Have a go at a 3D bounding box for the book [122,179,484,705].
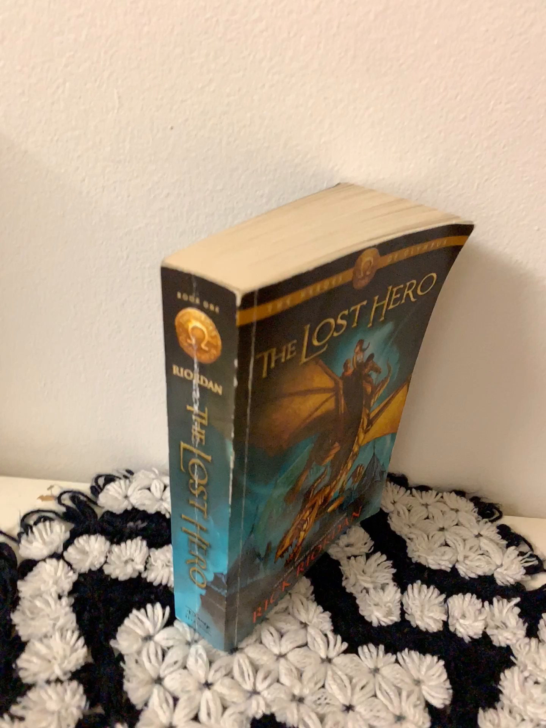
[{"bbox_3d":[0.019,0.024,0.255,0.068,0.177,0.142,21,35,31],"label":"book"}]
